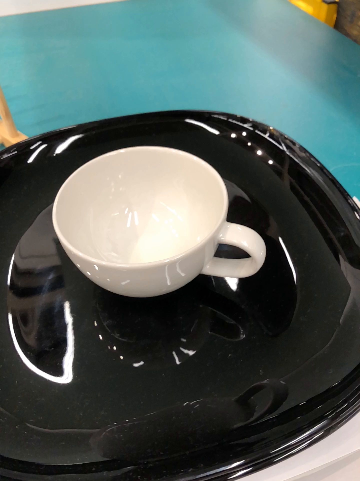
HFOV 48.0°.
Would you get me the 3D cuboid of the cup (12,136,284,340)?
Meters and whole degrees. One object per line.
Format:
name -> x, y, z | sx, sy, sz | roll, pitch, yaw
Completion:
cup -> -0.010, -0.011, 0.250 | 0.130, 0.040, 0.110 | 10, 47, 13
